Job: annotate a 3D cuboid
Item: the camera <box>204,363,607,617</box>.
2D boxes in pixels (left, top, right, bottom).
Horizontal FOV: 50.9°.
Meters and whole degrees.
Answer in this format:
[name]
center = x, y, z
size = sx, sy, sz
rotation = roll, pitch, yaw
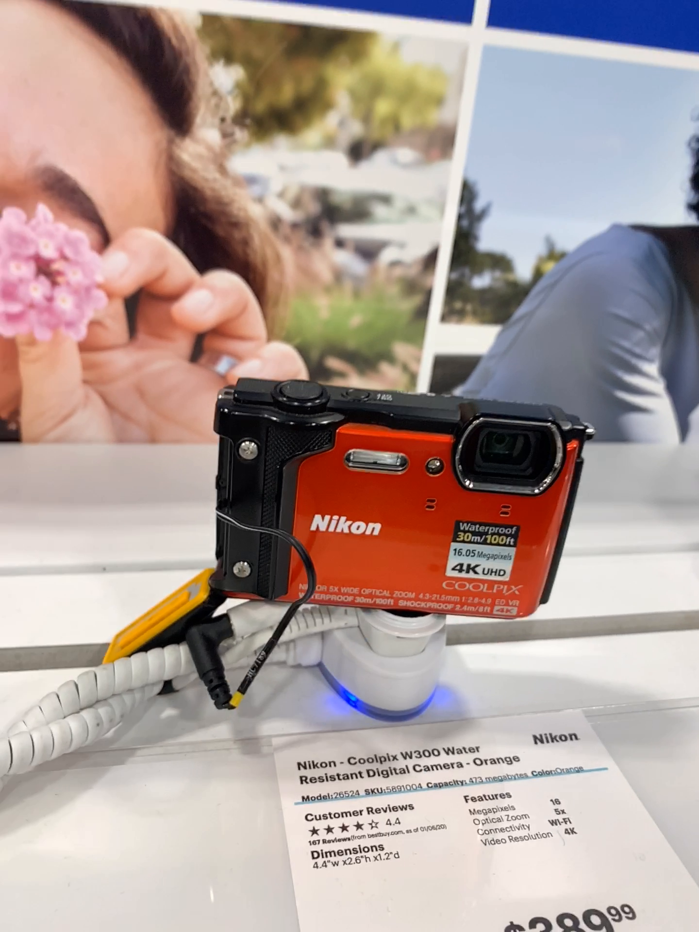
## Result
[camera]
center = 0.013, 0.008, 0.215
size = 0.105, 0.063, 0.025
rotation = 4, 24, -6
